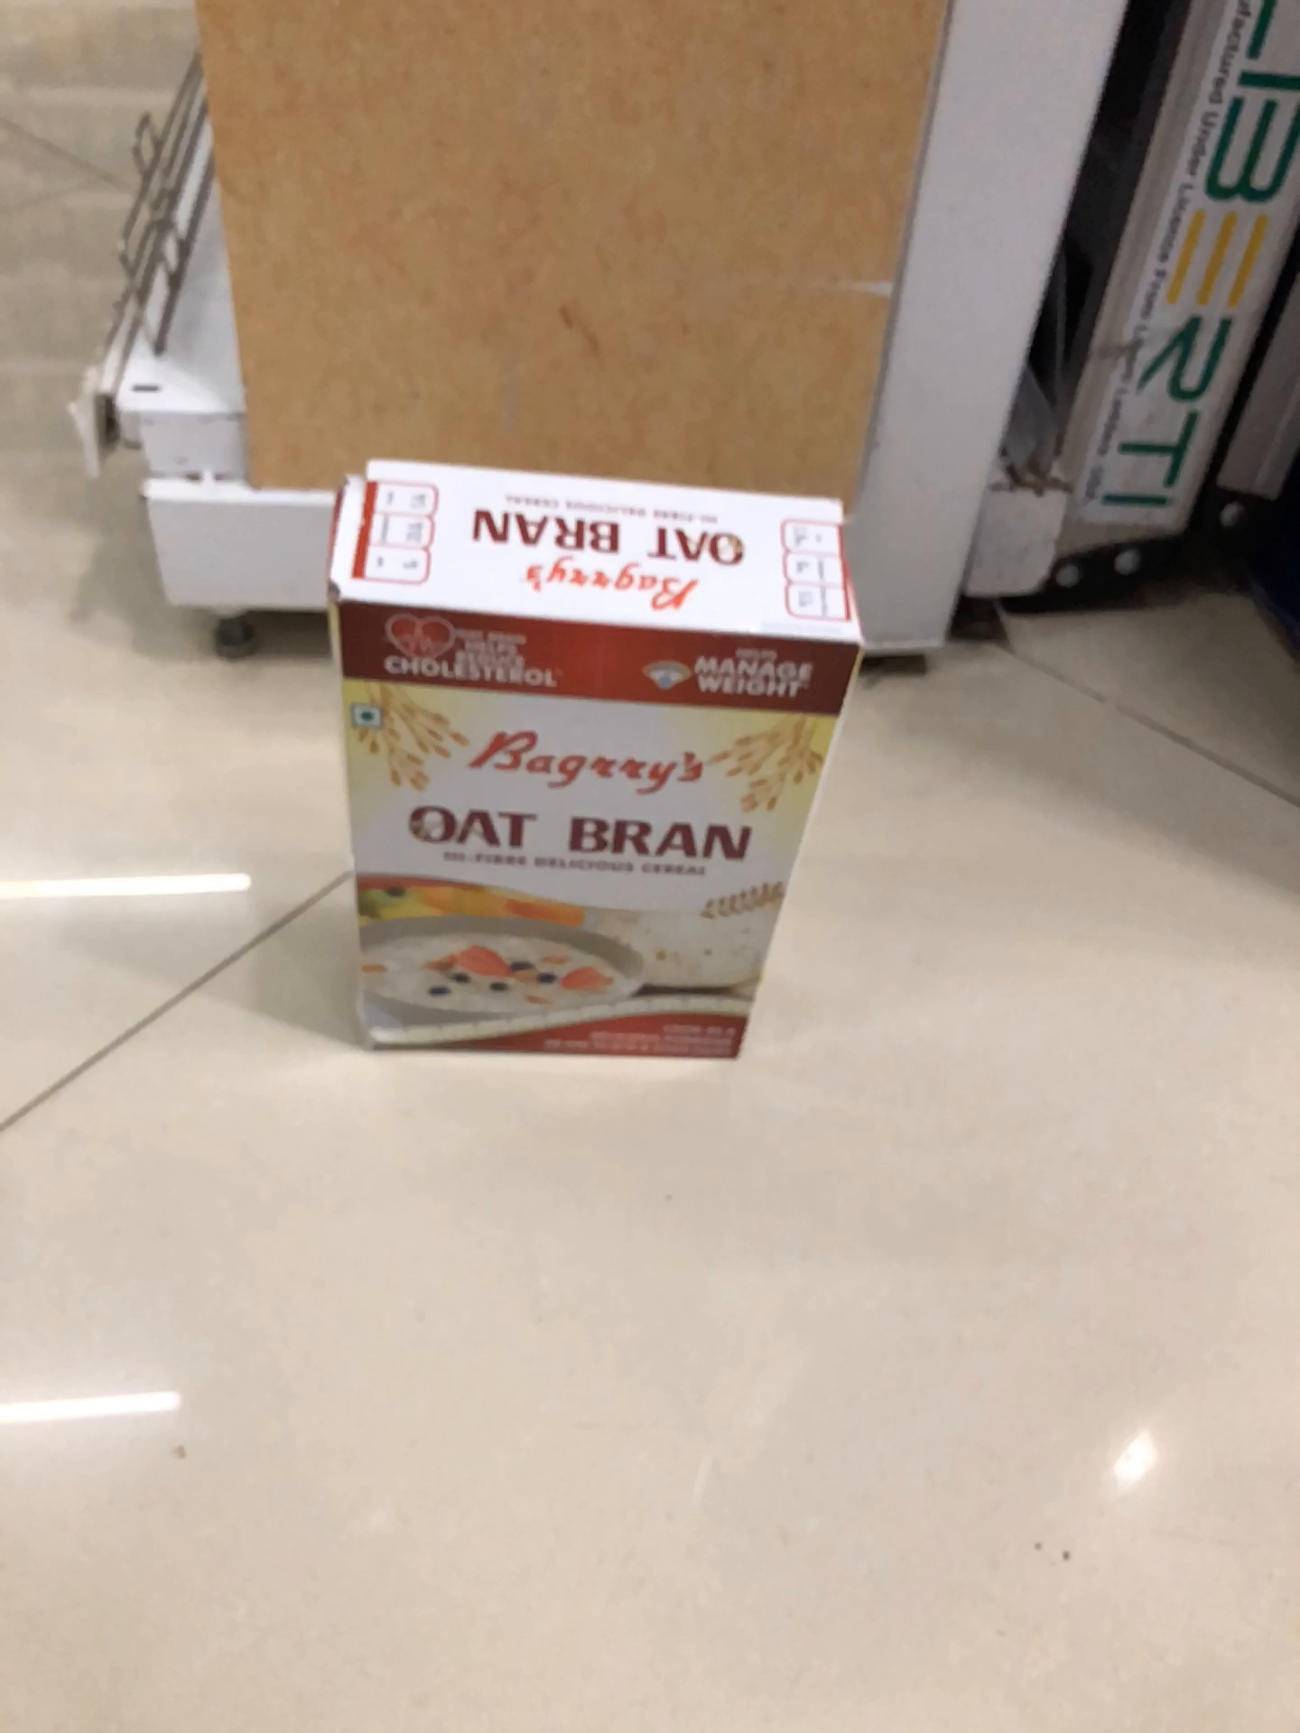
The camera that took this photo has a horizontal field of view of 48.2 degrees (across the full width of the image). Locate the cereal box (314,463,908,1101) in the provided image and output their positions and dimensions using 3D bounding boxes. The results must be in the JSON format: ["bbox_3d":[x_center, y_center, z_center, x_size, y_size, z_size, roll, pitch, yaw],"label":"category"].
[{"bbox_3d":[-0.016,-0.014,0.464,0.150,0.209,0.060,5,48,-2],"label":"cereal box"}]
